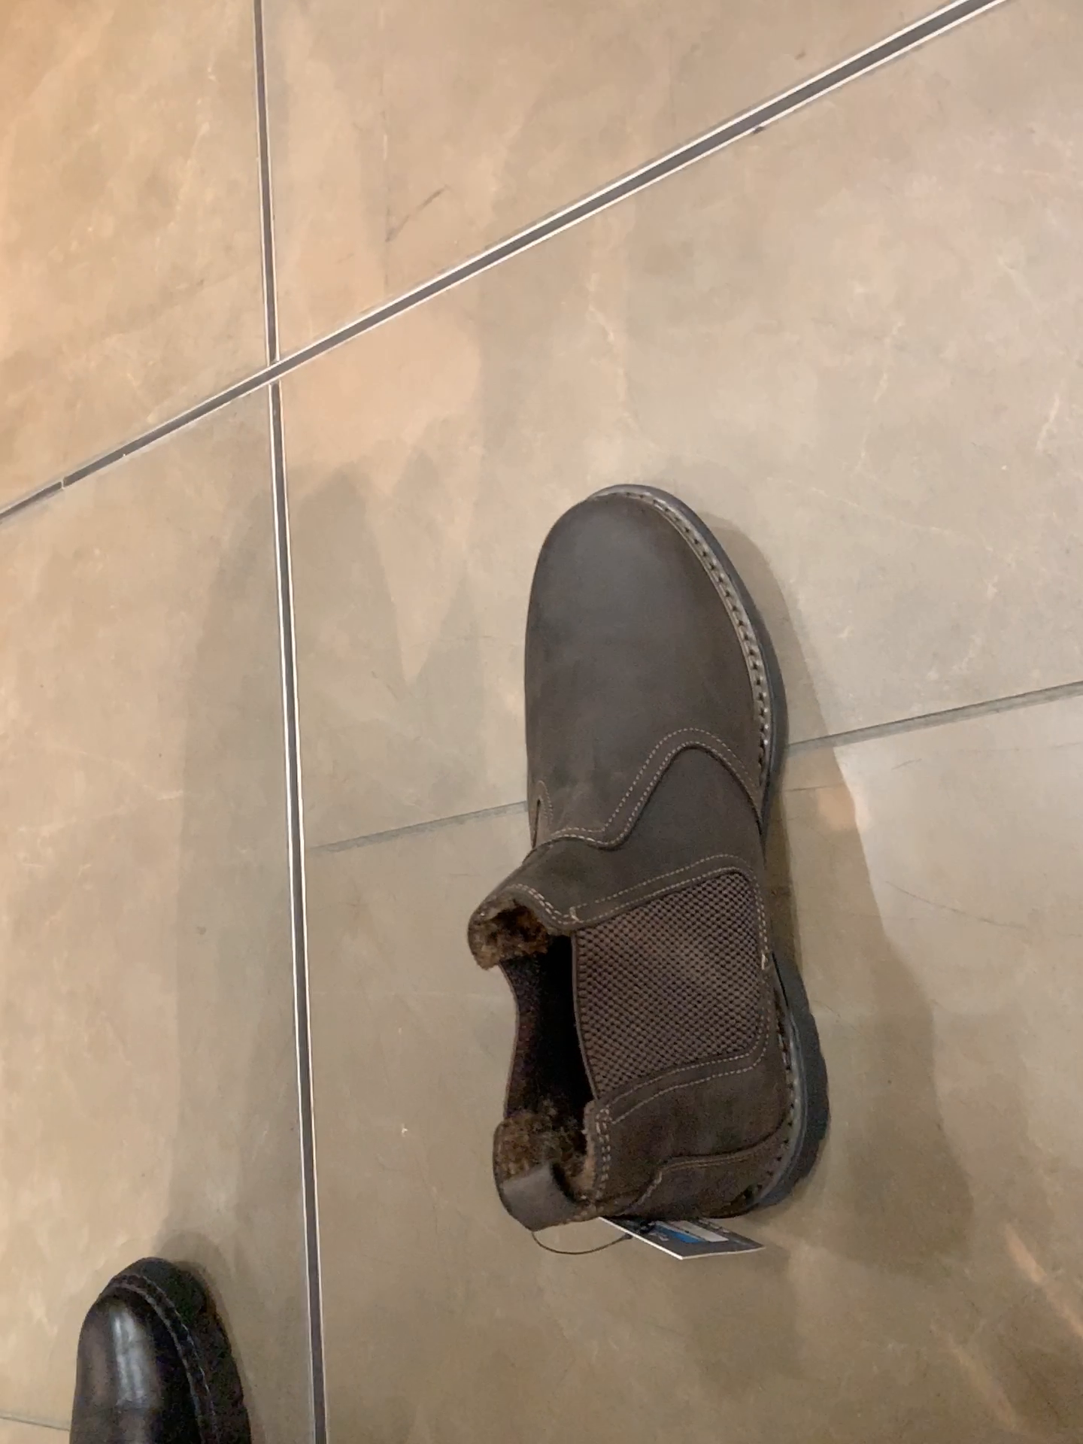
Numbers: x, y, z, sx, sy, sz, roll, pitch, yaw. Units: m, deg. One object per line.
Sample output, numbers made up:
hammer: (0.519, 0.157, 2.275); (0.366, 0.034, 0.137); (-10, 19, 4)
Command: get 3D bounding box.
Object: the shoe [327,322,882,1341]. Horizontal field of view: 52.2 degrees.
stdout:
shoe: (0.024, 0.040, 0.424); (0.114, 0.165, 0.304); (-14, 73, 31)
